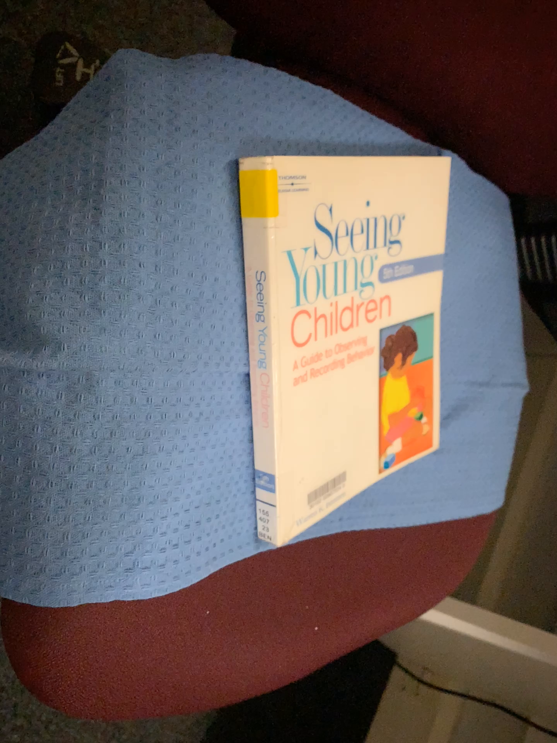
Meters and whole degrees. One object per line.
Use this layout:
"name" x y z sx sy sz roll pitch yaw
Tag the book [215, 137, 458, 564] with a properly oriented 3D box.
"book" 0.049 -0.025 0.398 0.201 0.030 0.250 -21 119 -42
